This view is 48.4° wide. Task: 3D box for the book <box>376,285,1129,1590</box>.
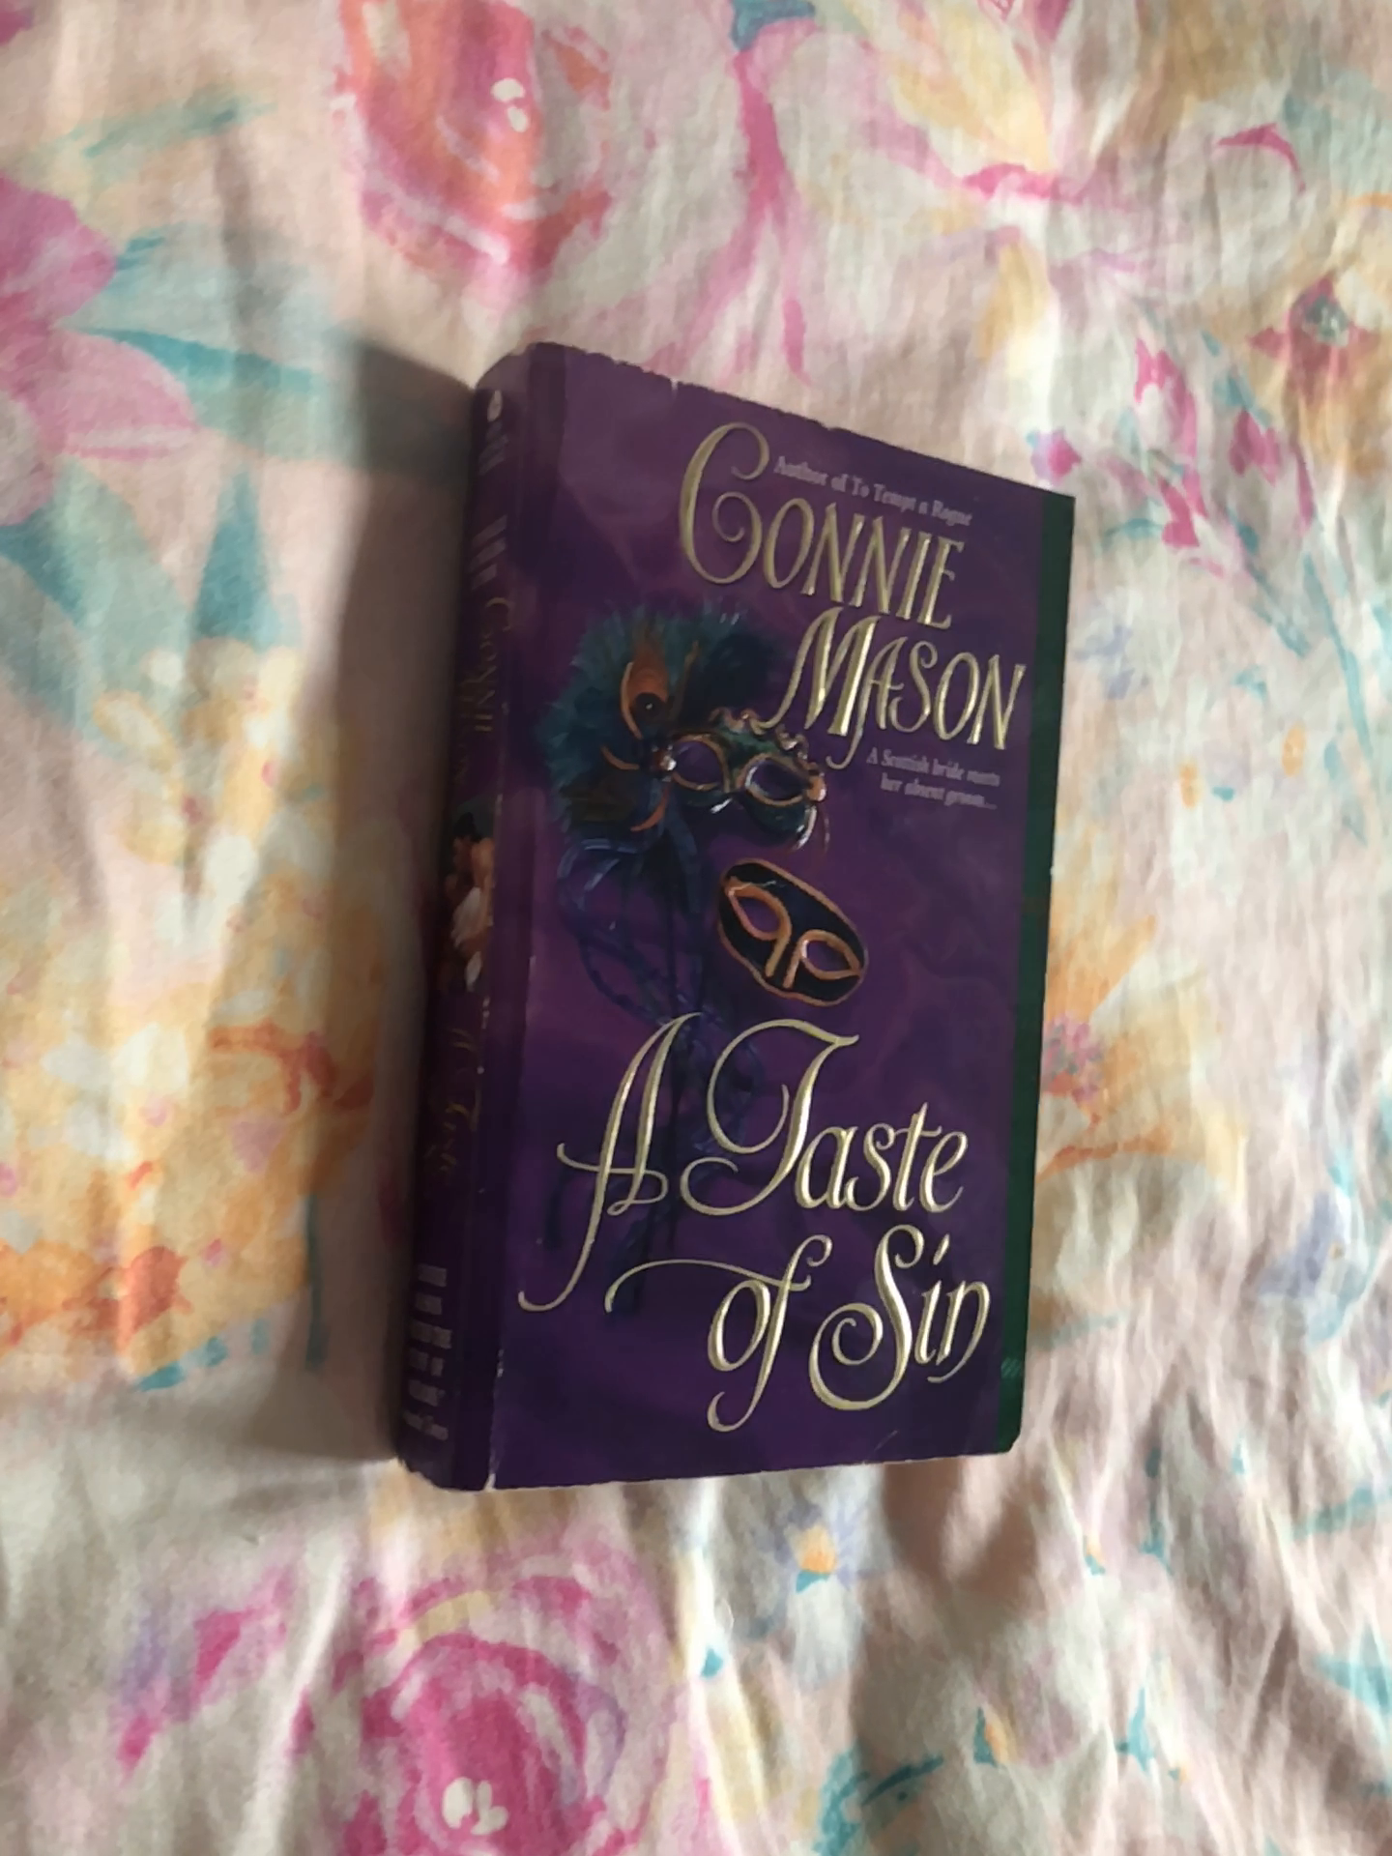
[{"bbox_3d":[0.013,0.003,0.262,0.120,0.040,0.180,7,78,-35],"label":"book"}]
